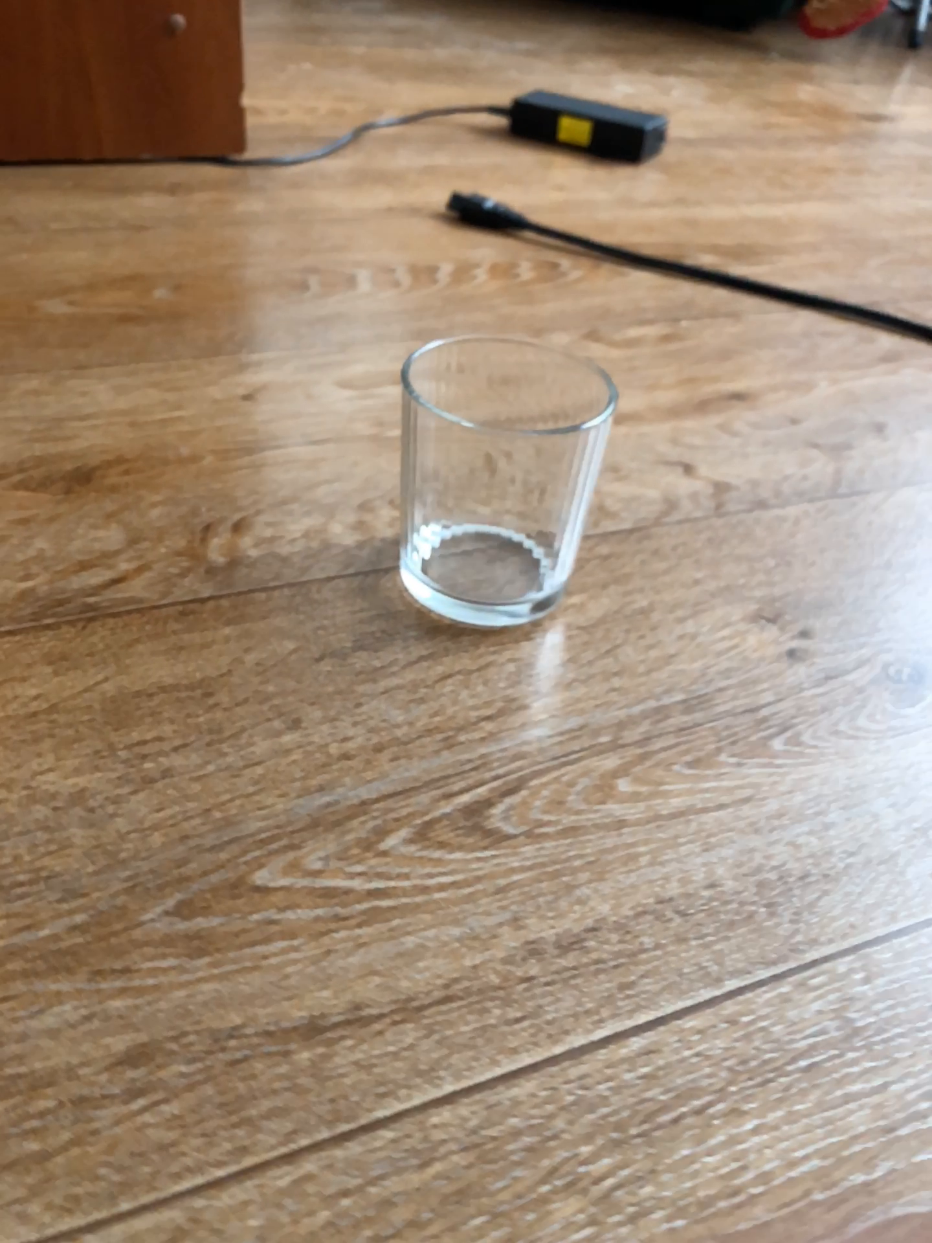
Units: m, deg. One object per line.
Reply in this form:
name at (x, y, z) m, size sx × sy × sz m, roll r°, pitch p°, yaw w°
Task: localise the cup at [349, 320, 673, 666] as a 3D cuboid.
cup at (0.013, -0.049, 0.374) m, size 0.076 × 0.079 × 0.078 m, roll 4°, pitch 38°, yaw -3°
